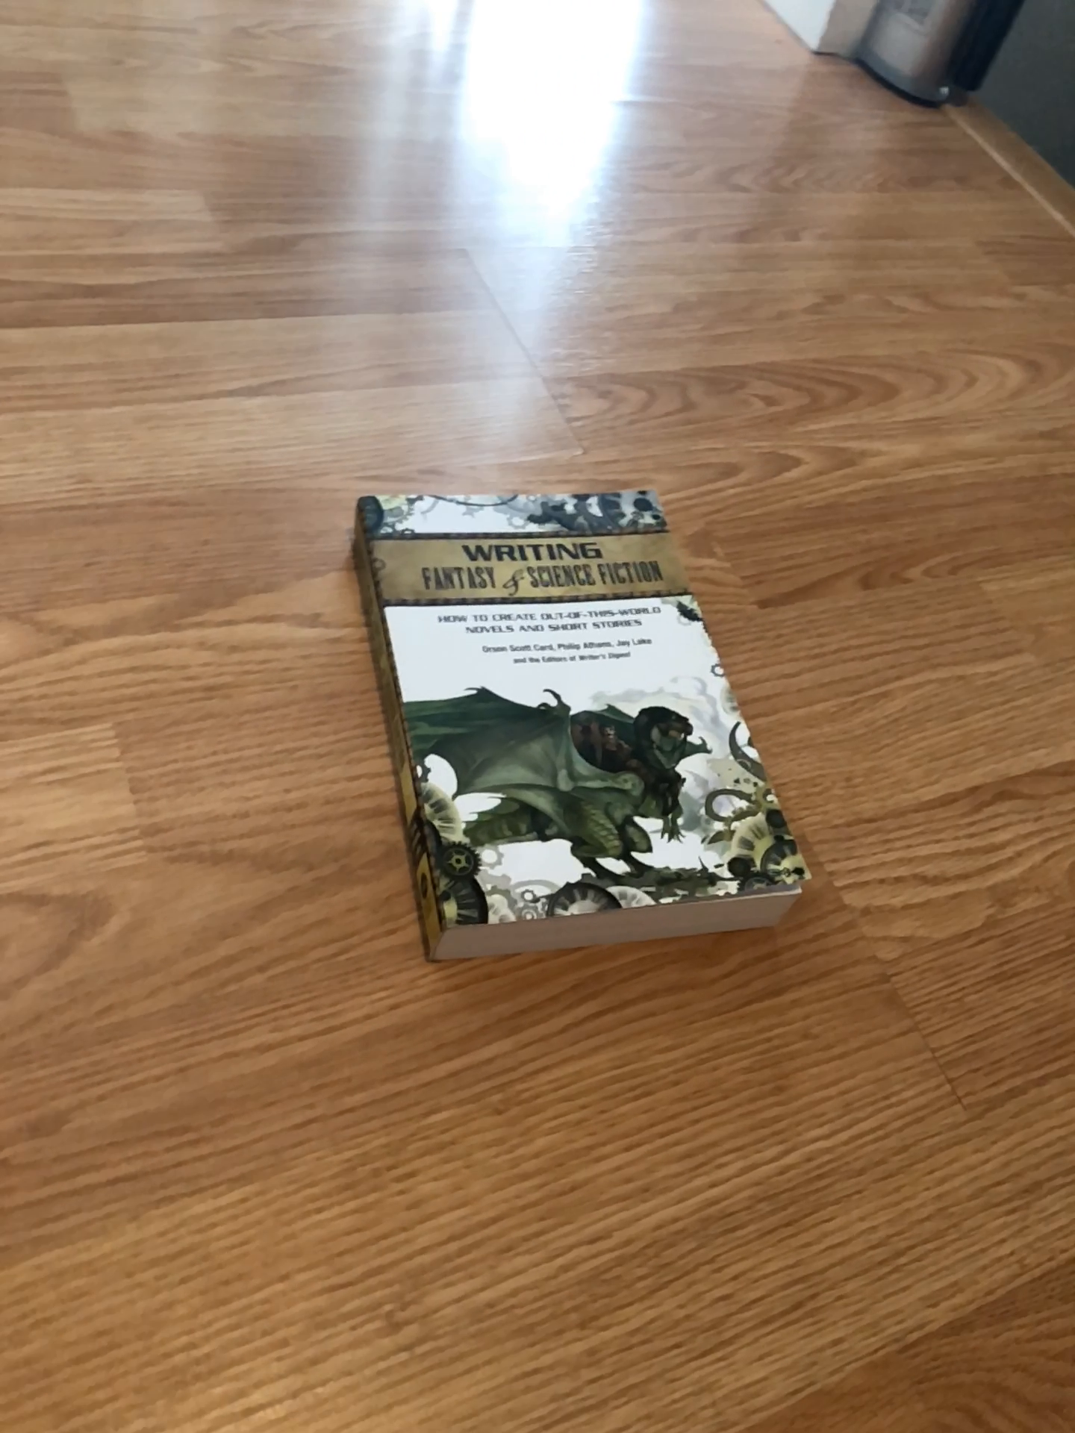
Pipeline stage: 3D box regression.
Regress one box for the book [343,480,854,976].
[{"bbox_3d":[0.015,-0.010,0.521,0.165,0.040,0.228,-3,54,-19],"label":"book"}]
